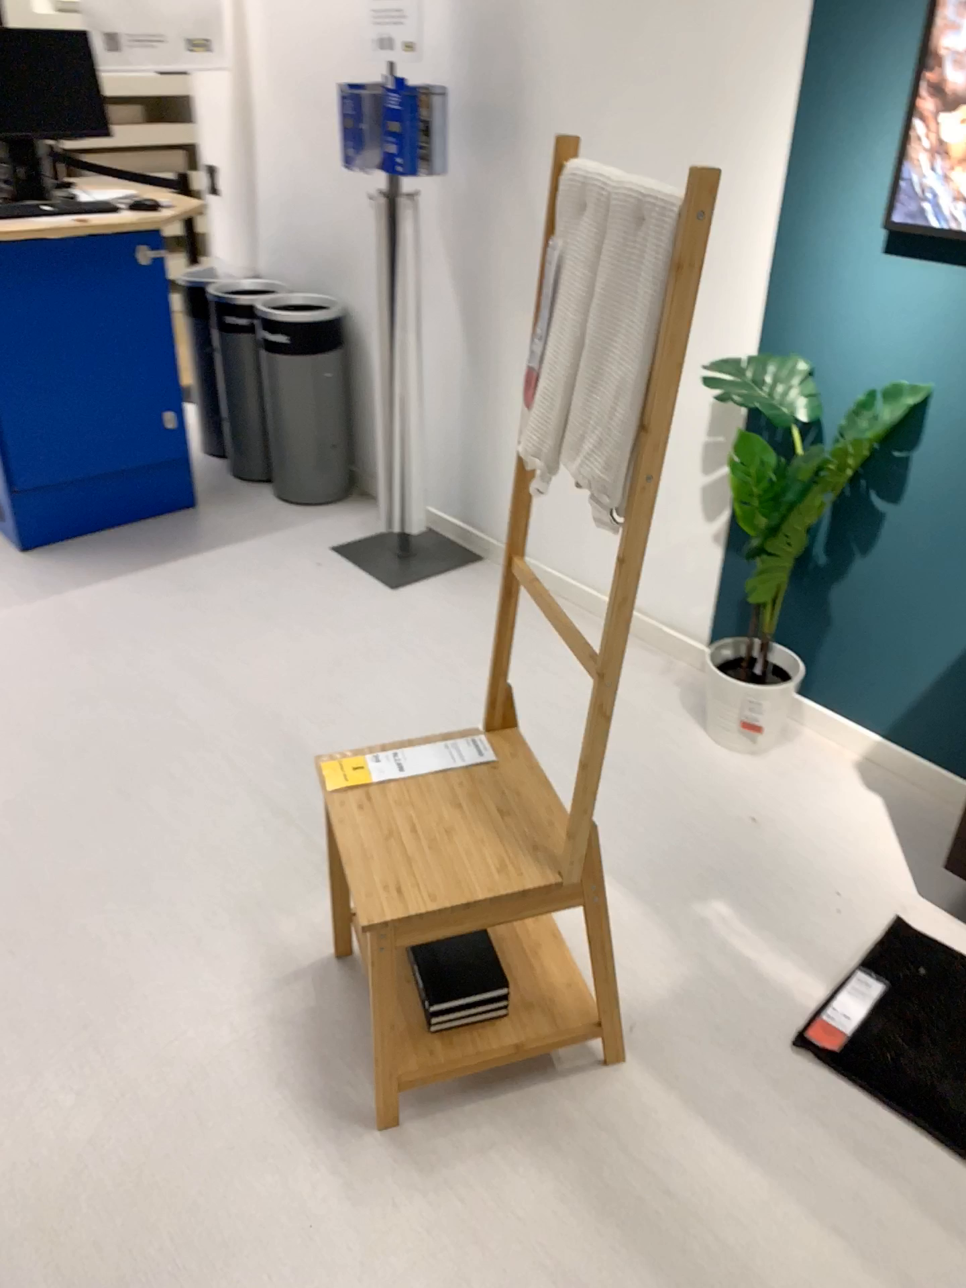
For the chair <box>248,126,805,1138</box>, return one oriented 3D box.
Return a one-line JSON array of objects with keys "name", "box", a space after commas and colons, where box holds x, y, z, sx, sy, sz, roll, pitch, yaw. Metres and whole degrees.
[{"name": "chair", "box": [-0.002, 0.024, 1.380, 0.470, 1.294, 0.462, -8, 31, -15]}]
